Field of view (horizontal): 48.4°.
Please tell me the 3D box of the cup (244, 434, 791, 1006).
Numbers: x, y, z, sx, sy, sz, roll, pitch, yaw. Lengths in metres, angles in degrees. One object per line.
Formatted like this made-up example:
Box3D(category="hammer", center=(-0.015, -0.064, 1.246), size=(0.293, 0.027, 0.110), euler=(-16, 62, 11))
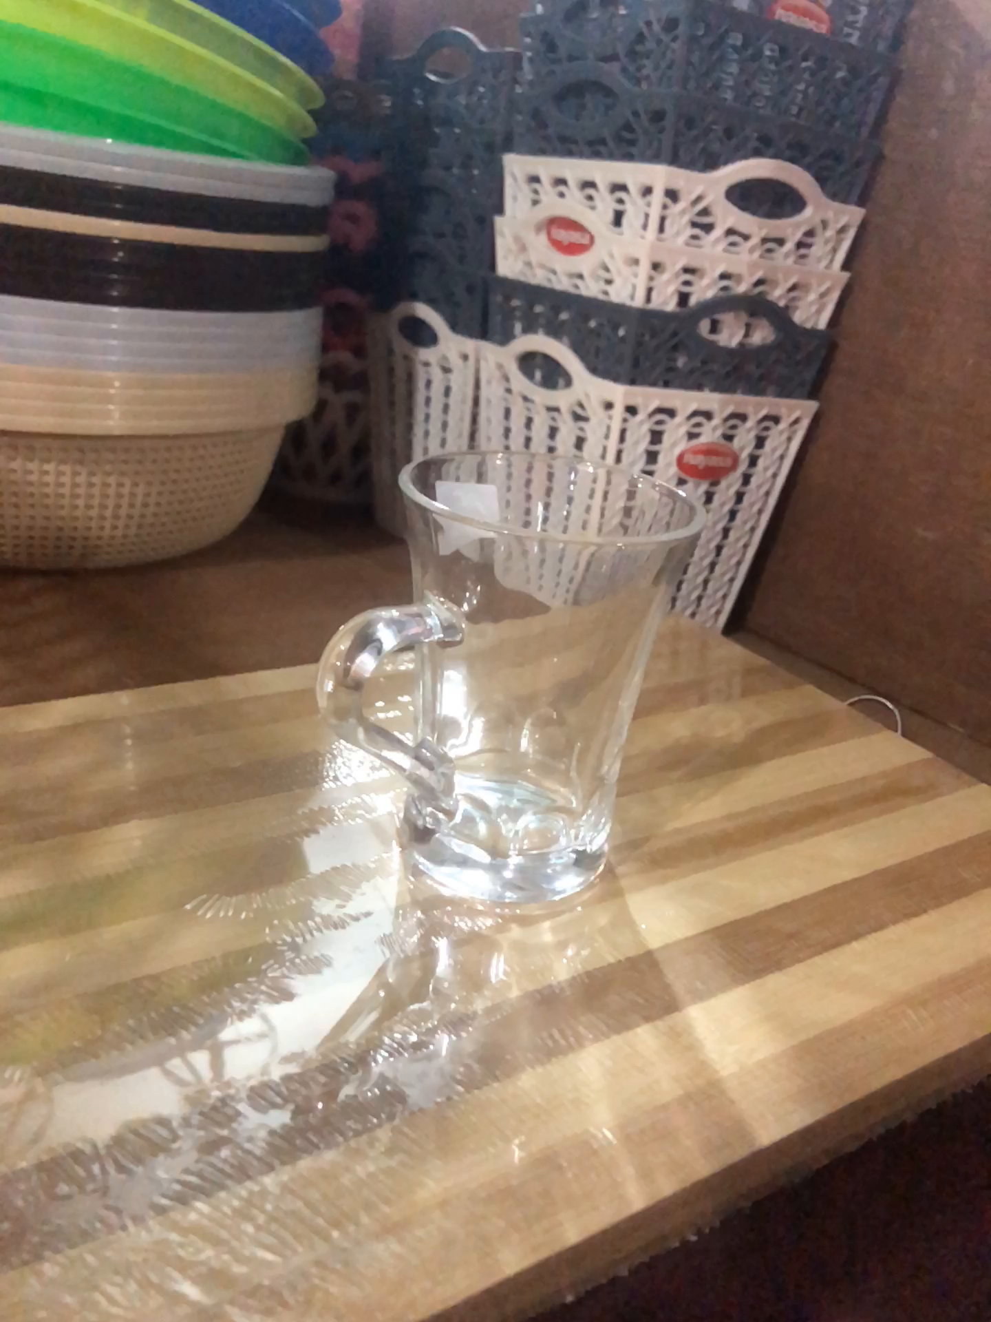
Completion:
Box3D(category="cup", center=(0.002, 0.005, 0.238), size=(0.090, 0.090, 0.060), euler=(-13, 31, -39))
